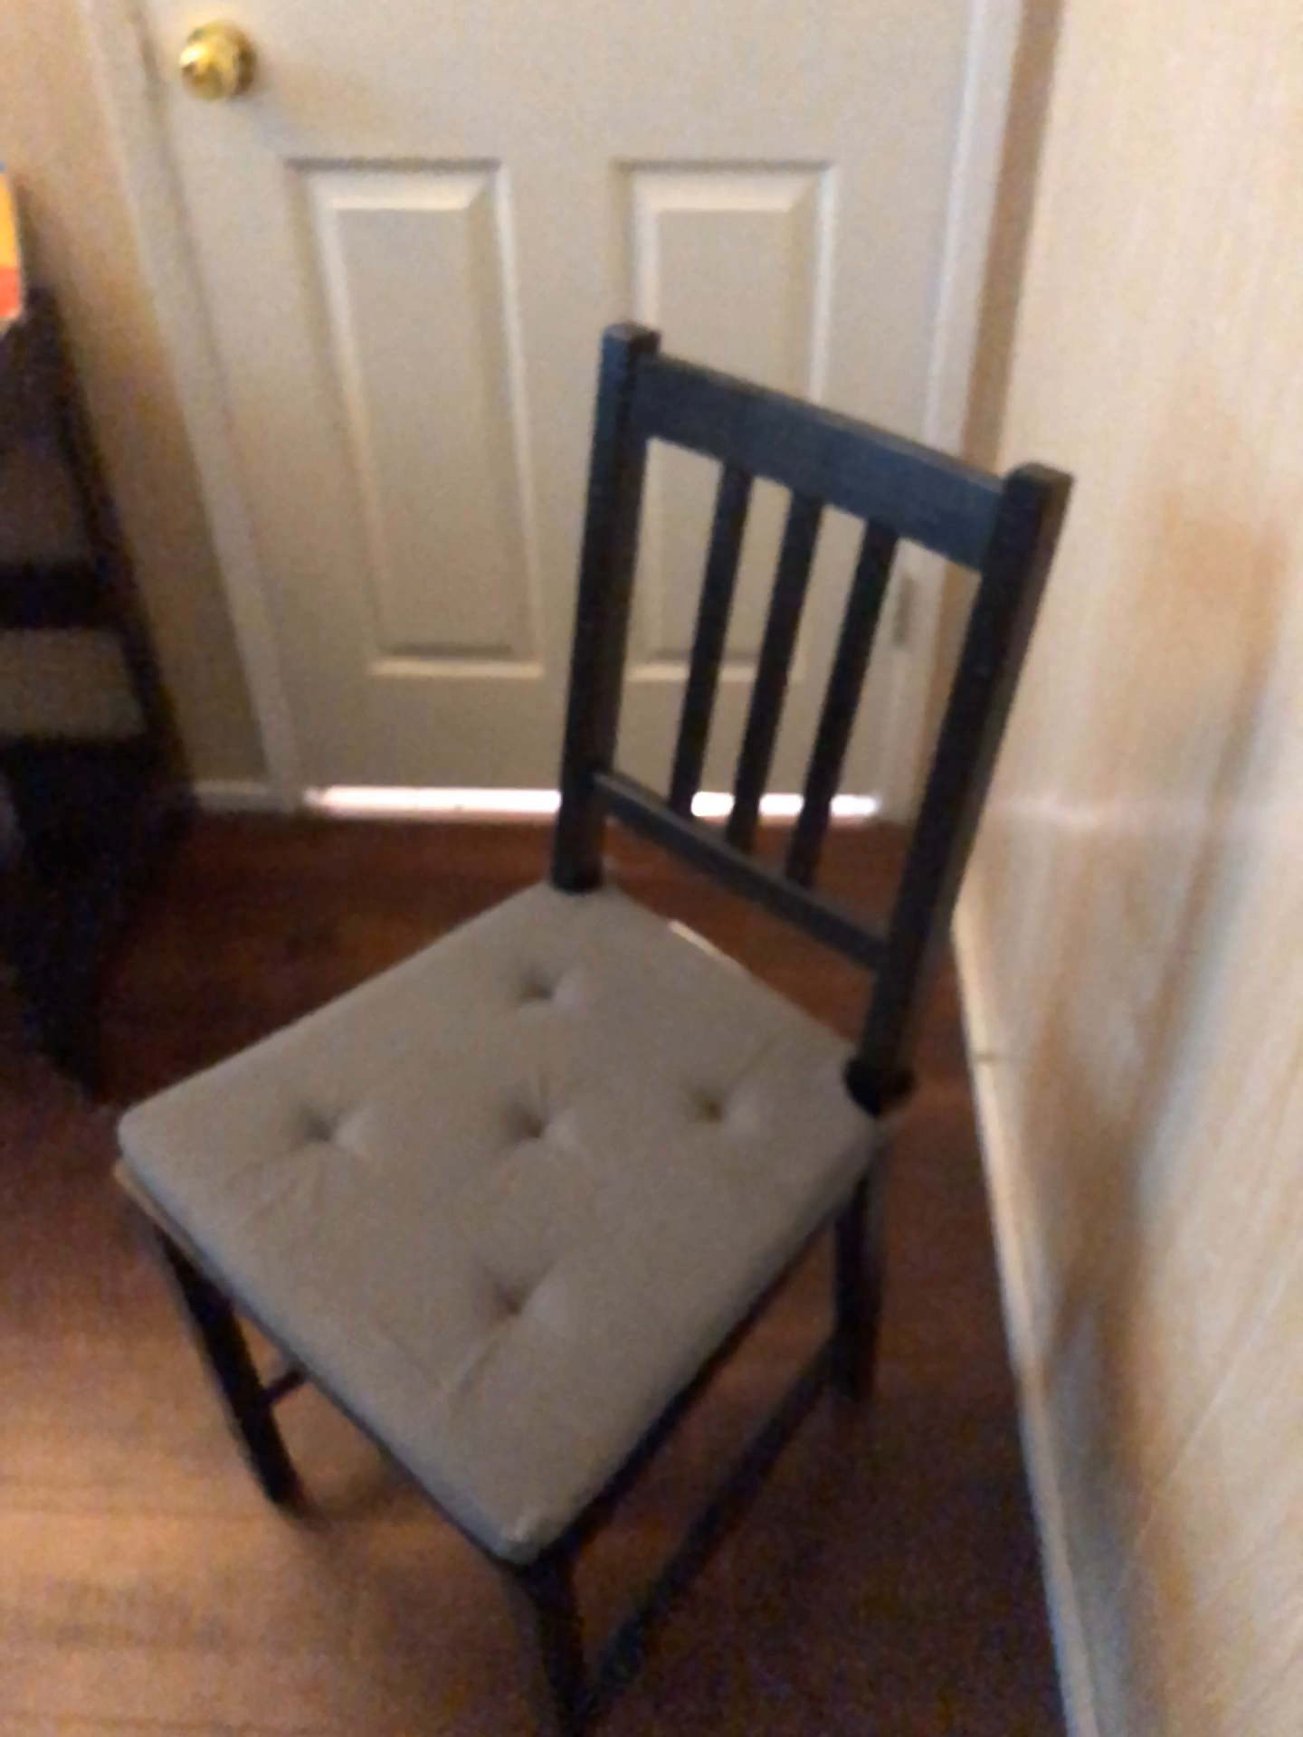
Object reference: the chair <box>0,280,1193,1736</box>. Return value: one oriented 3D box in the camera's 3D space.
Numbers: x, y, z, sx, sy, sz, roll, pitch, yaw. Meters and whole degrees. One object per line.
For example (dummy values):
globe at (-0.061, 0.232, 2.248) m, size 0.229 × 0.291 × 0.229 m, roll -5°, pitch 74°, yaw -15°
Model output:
chair at (-0.064, 0.158, 0.963) m, size 0.442 × 0.835 × 0.511 m, roll 31°, pitch 51°, yaw 30°
